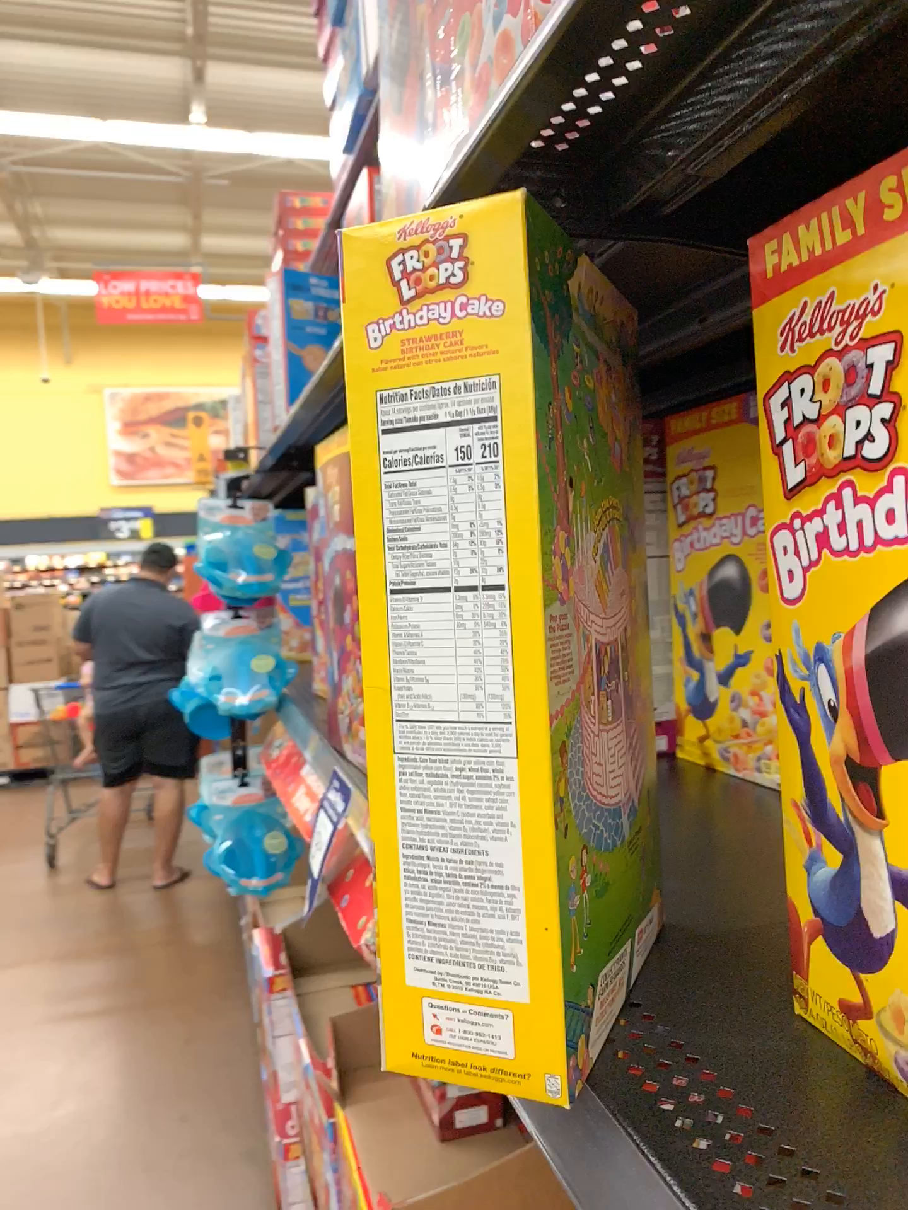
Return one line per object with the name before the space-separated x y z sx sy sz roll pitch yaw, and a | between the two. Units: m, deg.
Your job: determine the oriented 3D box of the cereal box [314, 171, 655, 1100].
cereal box | 0.030 0.008 0.439 0.080 0.330 0.200 -1 3 23
